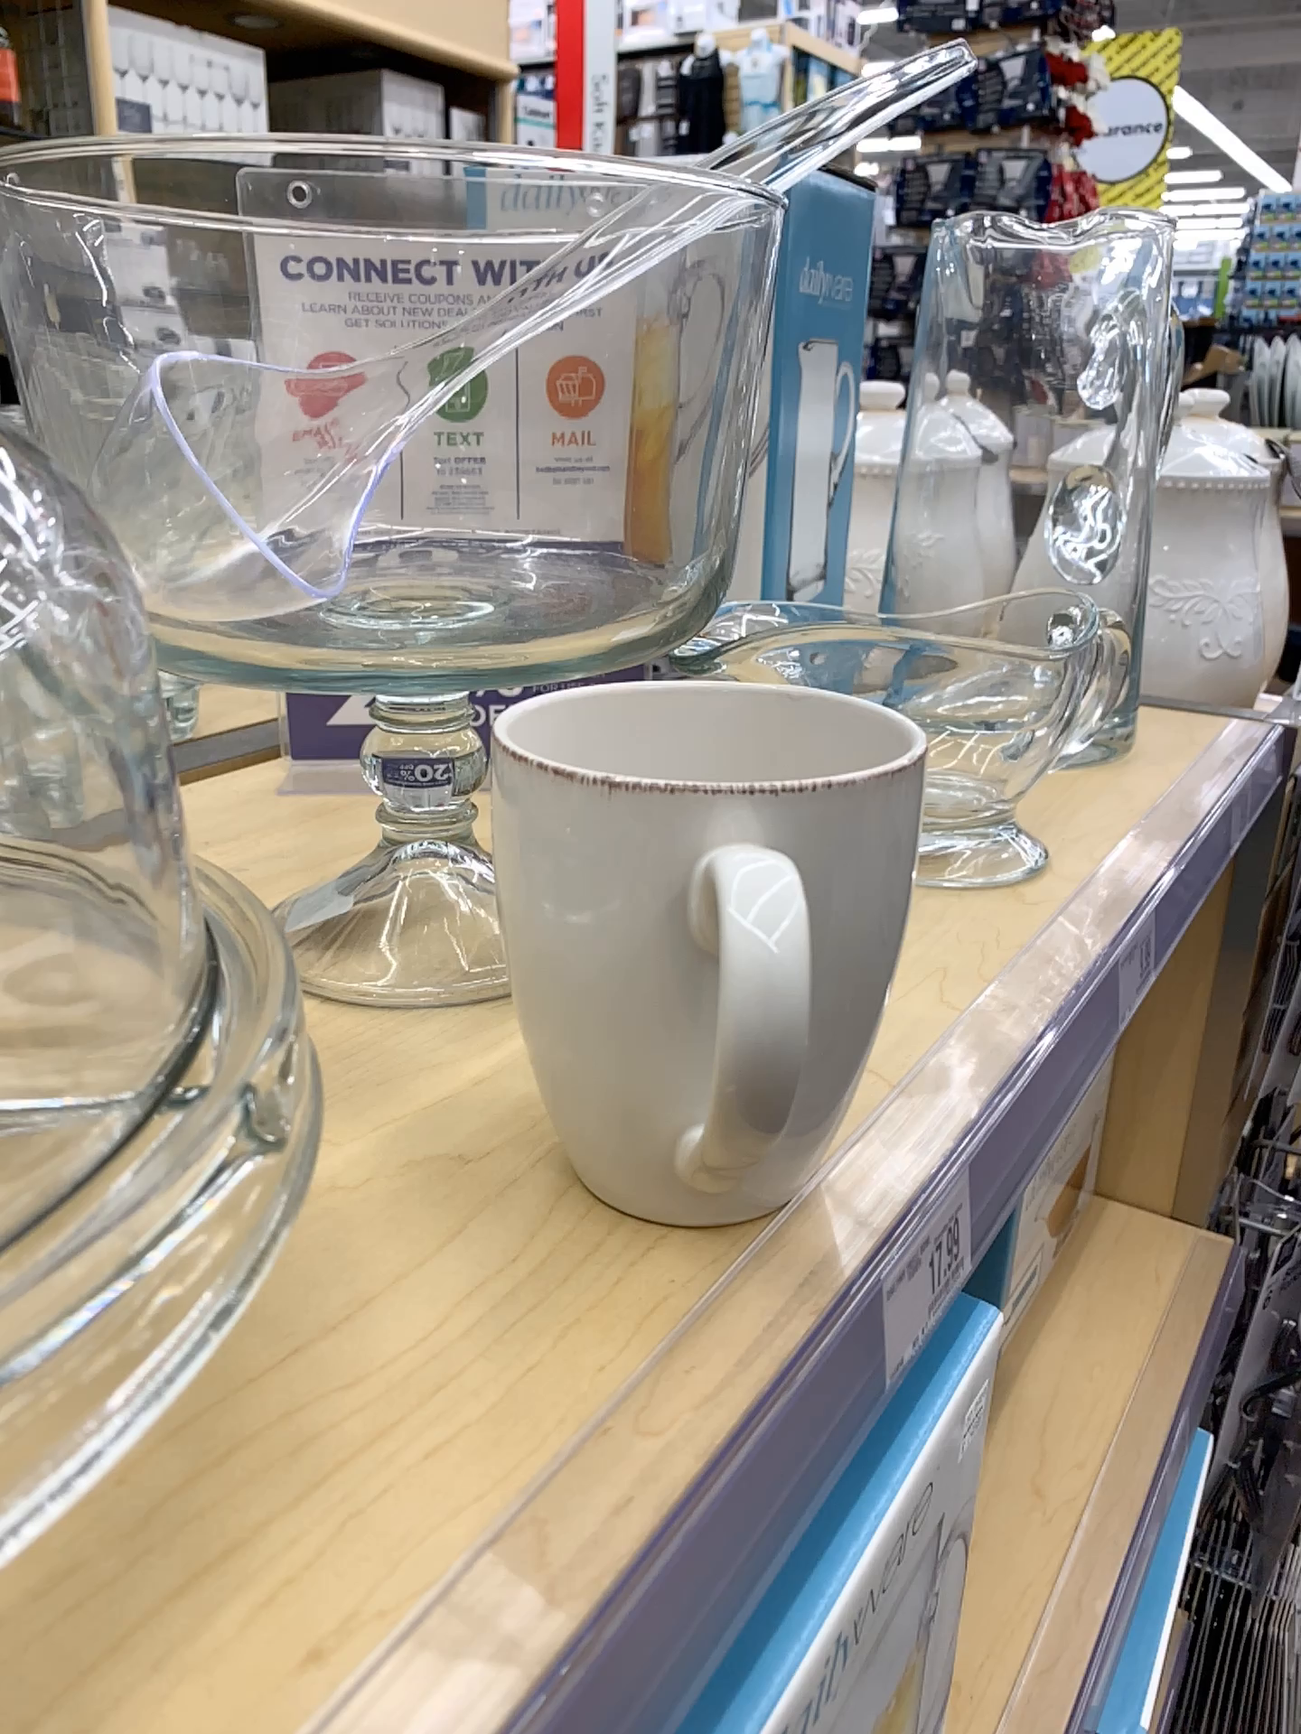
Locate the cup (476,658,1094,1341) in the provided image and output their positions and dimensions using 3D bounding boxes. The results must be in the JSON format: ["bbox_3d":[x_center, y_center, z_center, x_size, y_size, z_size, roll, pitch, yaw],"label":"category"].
[{"bbox_3d":[0.013,0.017,0.285,0.096,0.094,0.131,2,20,-8],"label":"cup"}]
